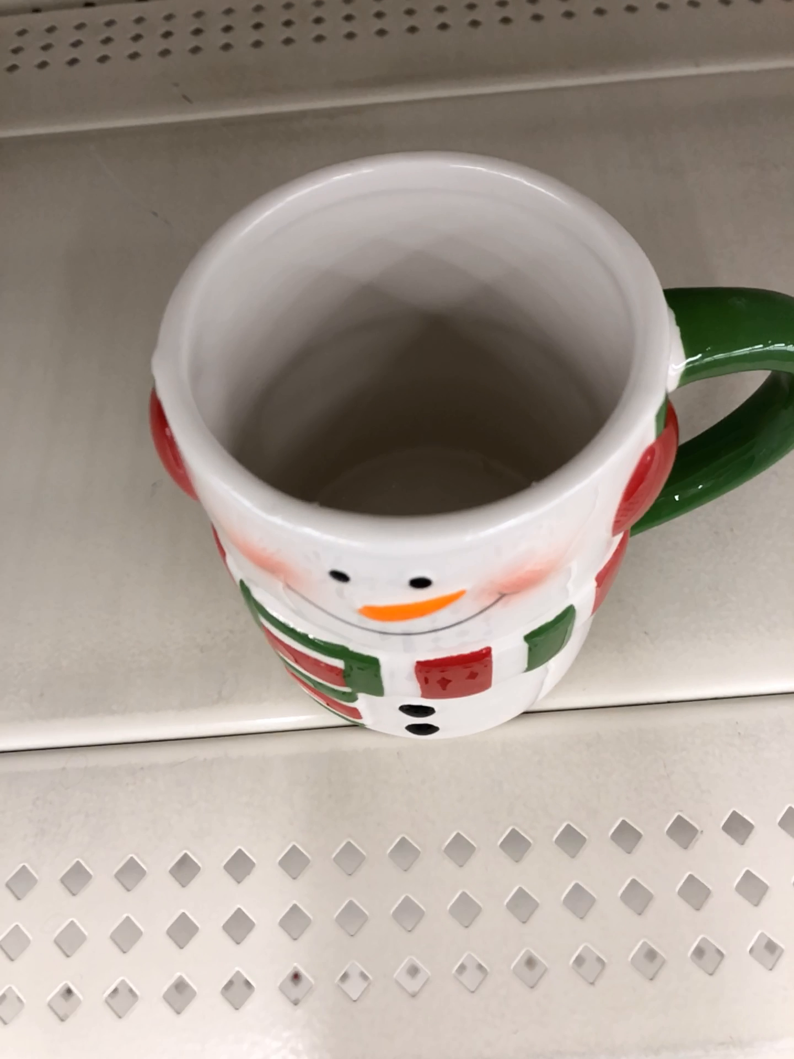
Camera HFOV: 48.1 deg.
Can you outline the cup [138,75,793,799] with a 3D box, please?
[{"bbox_3d":[0.027,-0.009,0.190,0.130,0.110,0.090,-8,62,0],"label":"cup"}]
